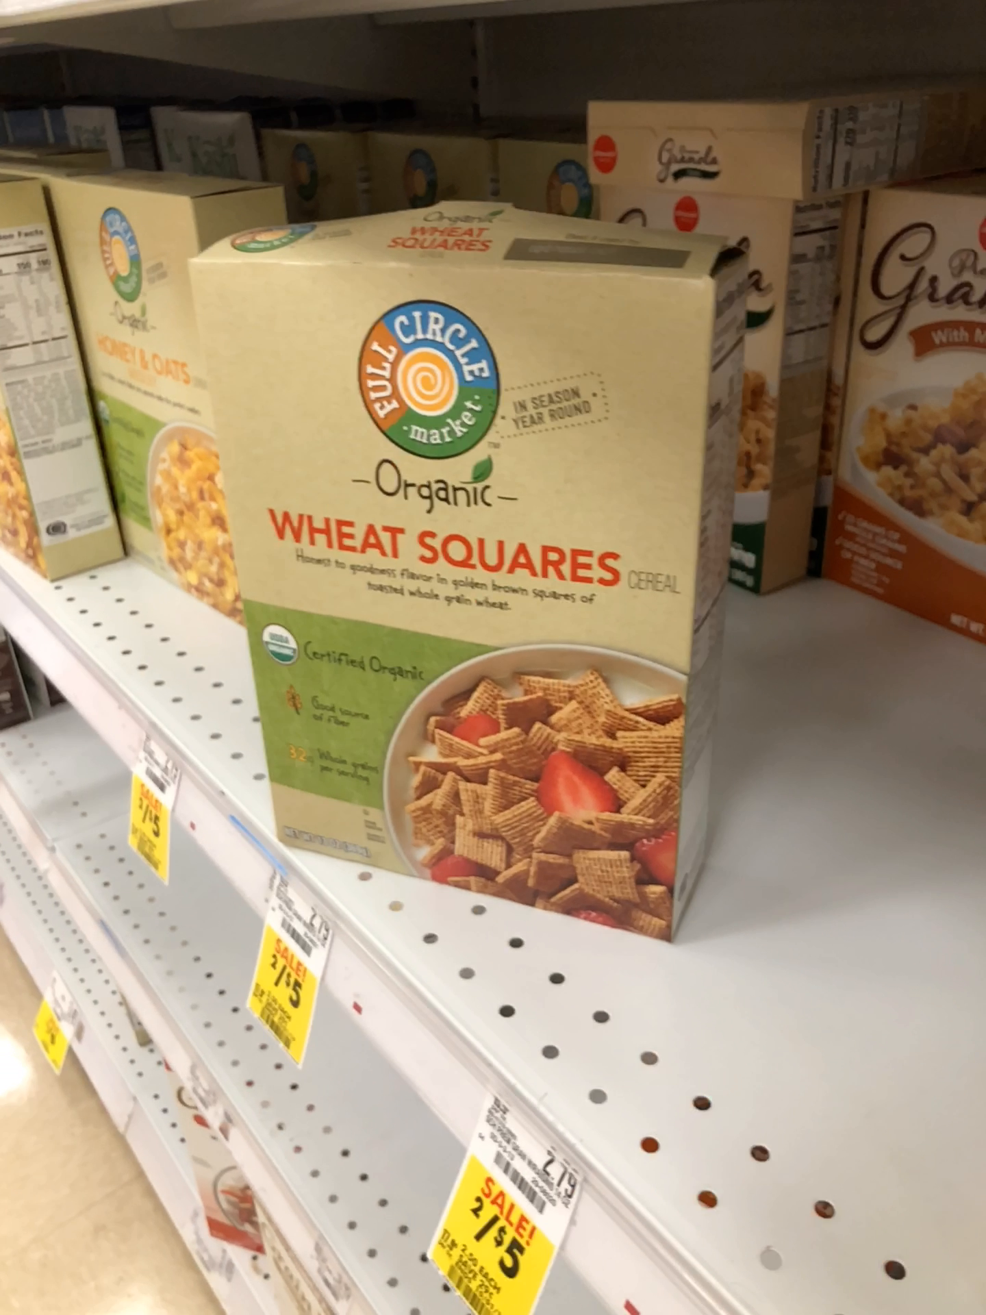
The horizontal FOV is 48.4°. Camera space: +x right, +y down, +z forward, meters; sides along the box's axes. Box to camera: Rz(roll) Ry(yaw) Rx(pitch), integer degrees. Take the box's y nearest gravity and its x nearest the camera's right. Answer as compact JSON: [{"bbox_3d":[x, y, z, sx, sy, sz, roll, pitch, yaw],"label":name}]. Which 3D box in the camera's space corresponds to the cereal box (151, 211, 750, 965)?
[{"bbox_3d":[-0.011,-0.024,0.436,0.200,0.279,0.050,9,32,22],"label":"cereal box"}]
